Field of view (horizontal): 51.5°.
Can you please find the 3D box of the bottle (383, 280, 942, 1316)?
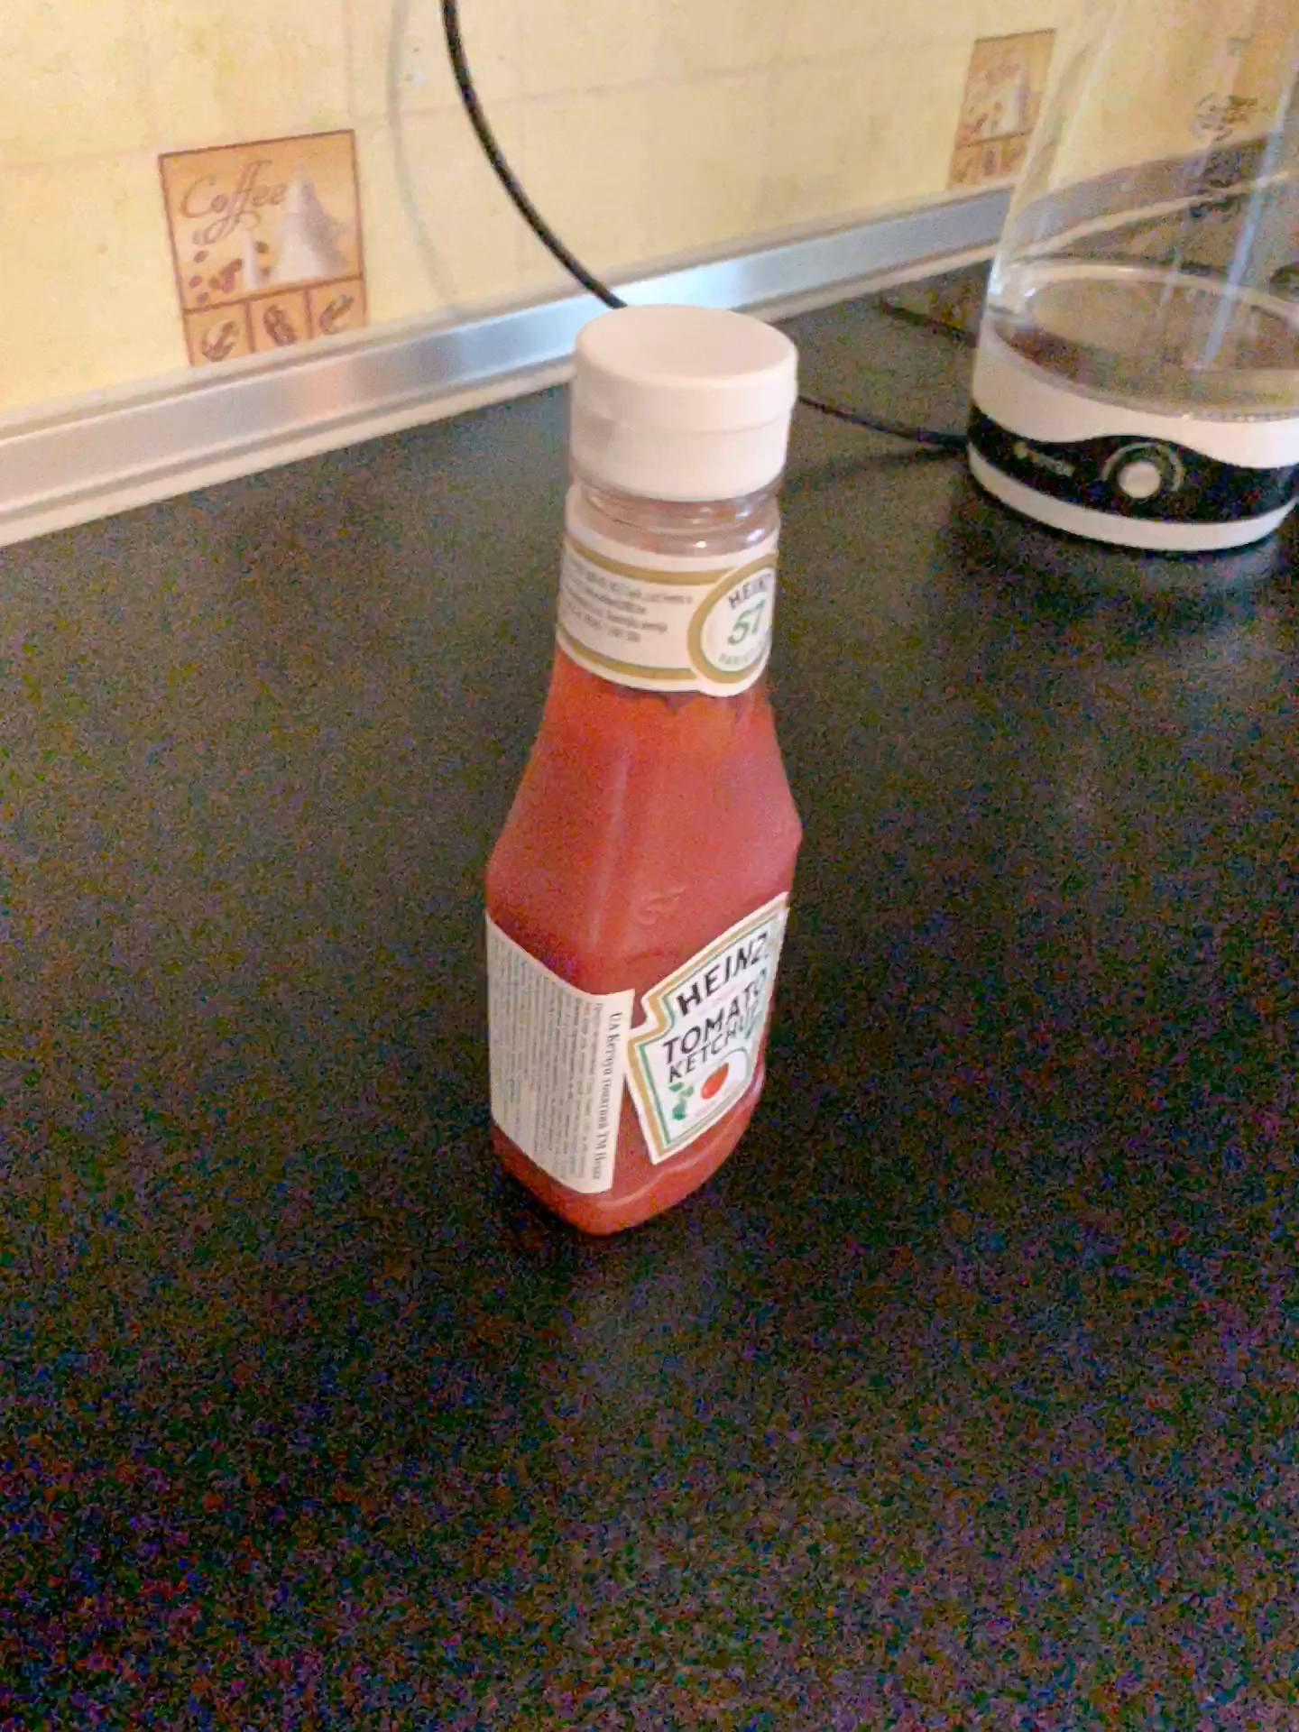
[{"bbox_3d":[-0.002,-0.003,0.262,0.050,0.189,0.070,33,47,29],"label":"bottle"}]
